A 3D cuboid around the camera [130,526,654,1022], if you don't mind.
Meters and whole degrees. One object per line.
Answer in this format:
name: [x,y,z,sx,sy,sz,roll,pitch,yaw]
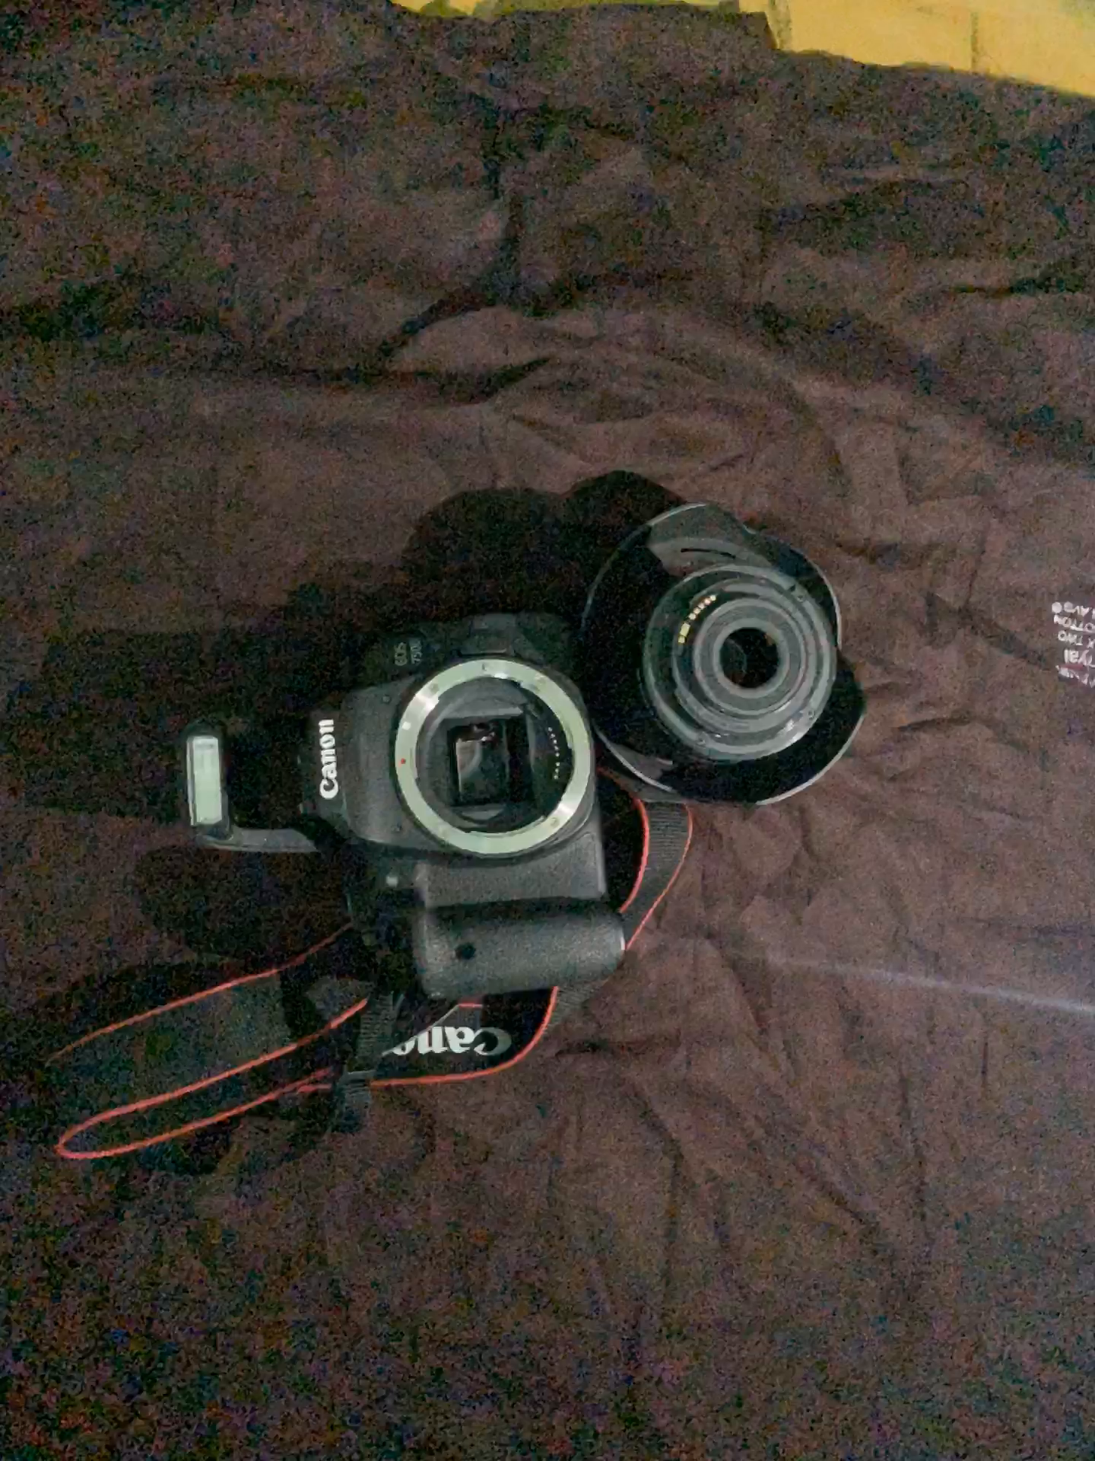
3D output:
camera: [-0.058,0.016,0.396,0.150,0.083,0.147,-5,77,-14]
